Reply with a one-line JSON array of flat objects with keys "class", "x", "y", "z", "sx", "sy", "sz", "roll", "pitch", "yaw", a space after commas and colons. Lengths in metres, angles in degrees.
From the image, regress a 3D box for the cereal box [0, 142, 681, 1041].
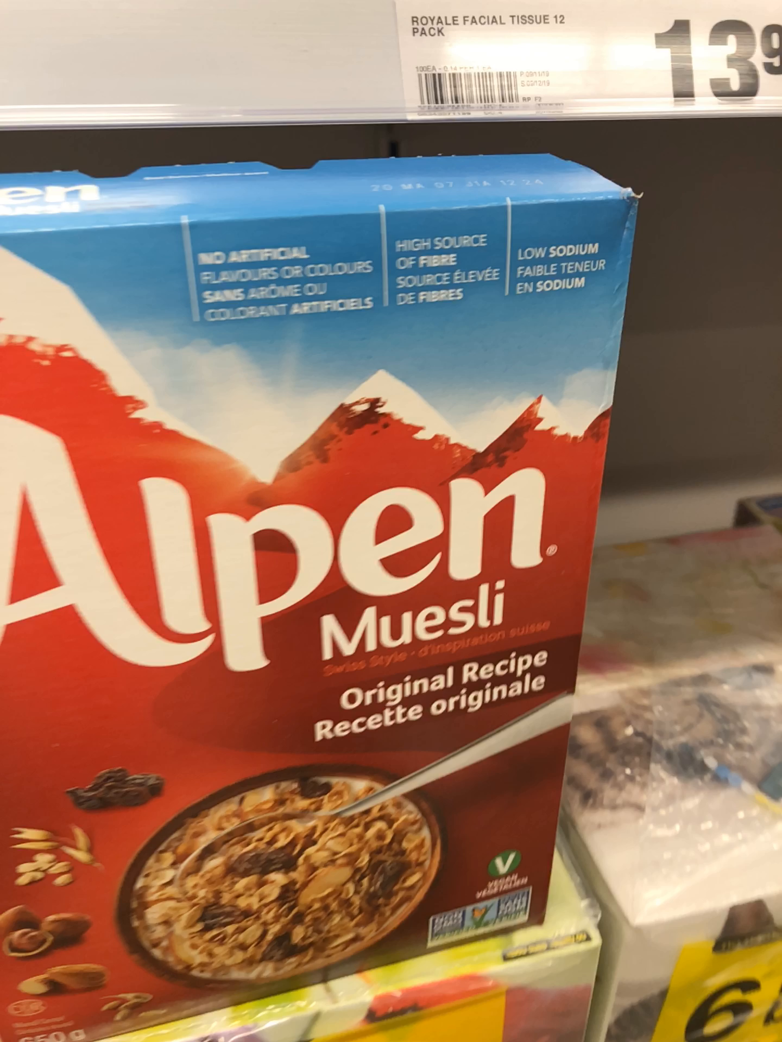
[{"class": "cereal box", "x": -0.037, "y": 0.031, "z": 0.228, "sx": 0.180, "sy": 0.229, "sz": 0.050, "roll": -8, "pitch": 31, "yaw": -14}]
